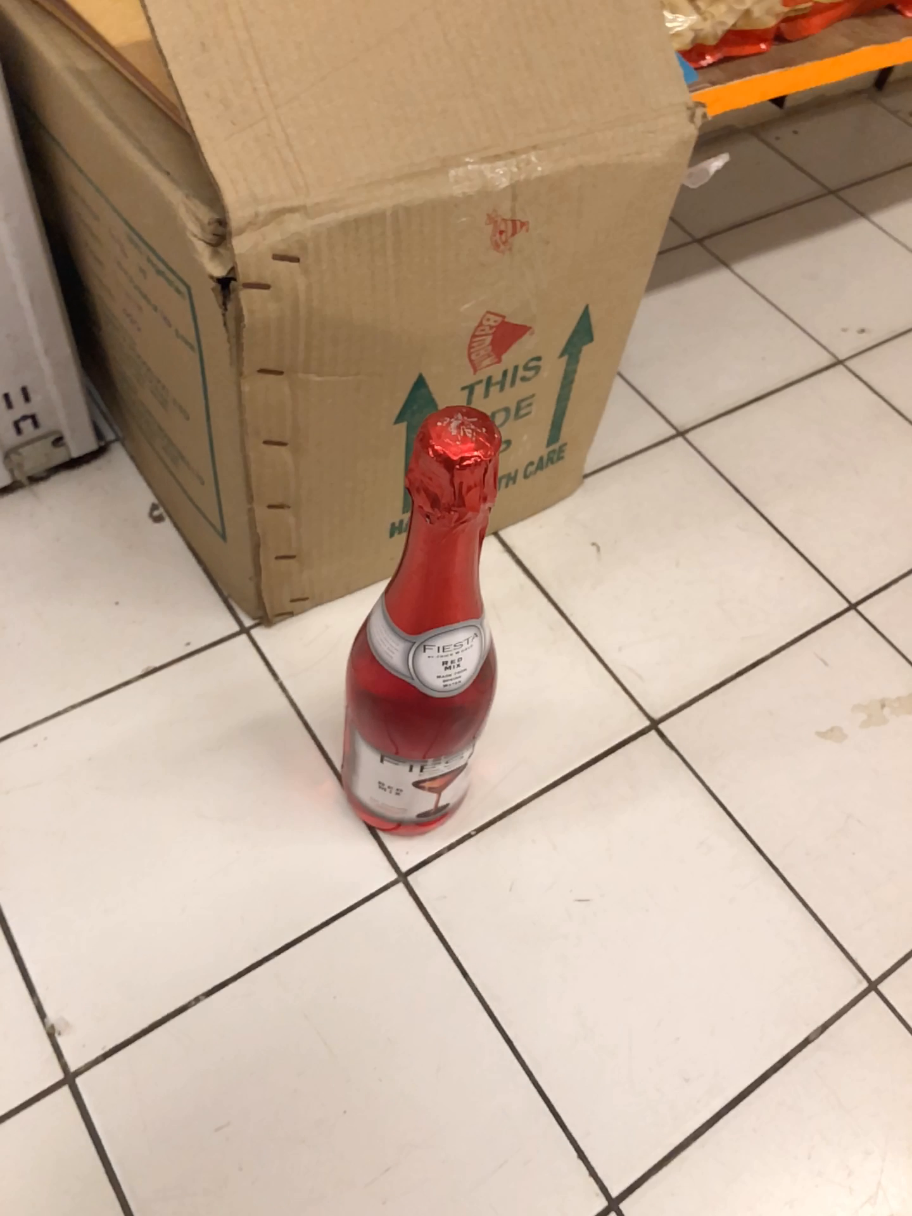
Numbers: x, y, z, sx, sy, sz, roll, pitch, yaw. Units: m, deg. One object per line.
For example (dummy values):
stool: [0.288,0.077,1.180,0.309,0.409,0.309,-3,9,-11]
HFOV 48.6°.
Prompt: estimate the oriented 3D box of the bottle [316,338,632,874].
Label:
bottle: [-0.010,0.022,0.494,0.090,0.299,0.080,-21,60,-21]
